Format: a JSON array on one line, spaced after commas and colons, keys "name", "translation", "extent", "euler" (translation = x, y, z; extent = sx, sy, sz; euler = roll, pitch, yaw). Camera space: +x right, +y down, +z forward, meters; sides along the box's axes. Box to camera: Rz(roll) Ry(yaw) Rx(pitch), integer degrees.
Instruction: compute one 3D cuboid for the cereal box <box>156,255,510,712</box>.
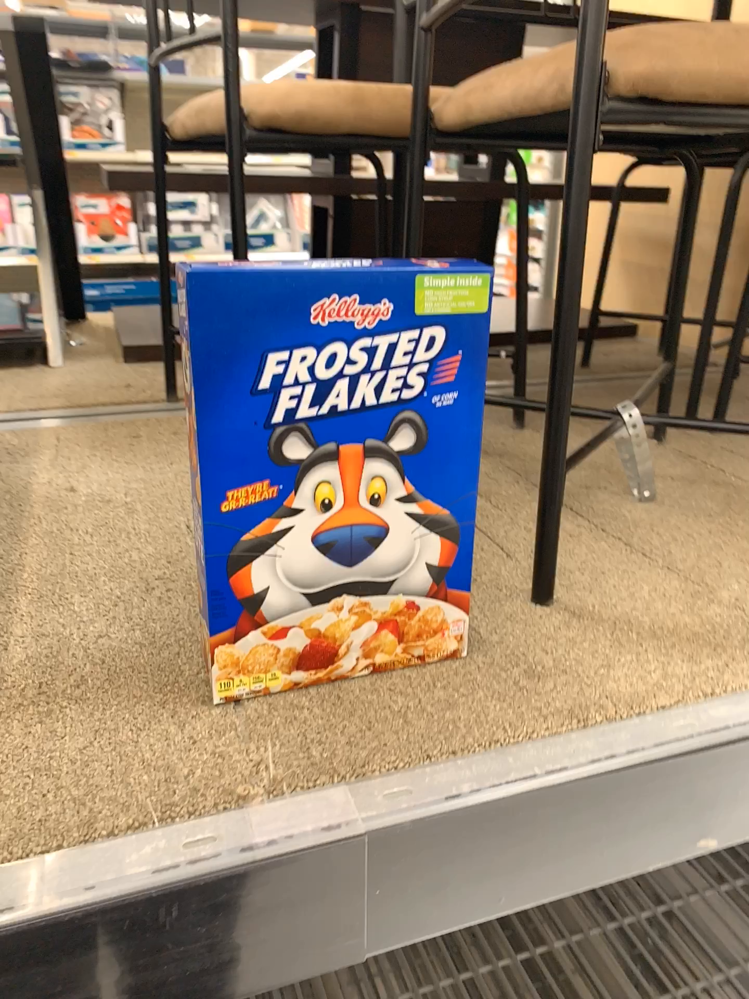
[{"name": "cereal box", "translation": [-0.028, -0.014, 0.532], "extent": [0.210, 0.289, 0.070], "euler": [-6, 22, -18]}]
